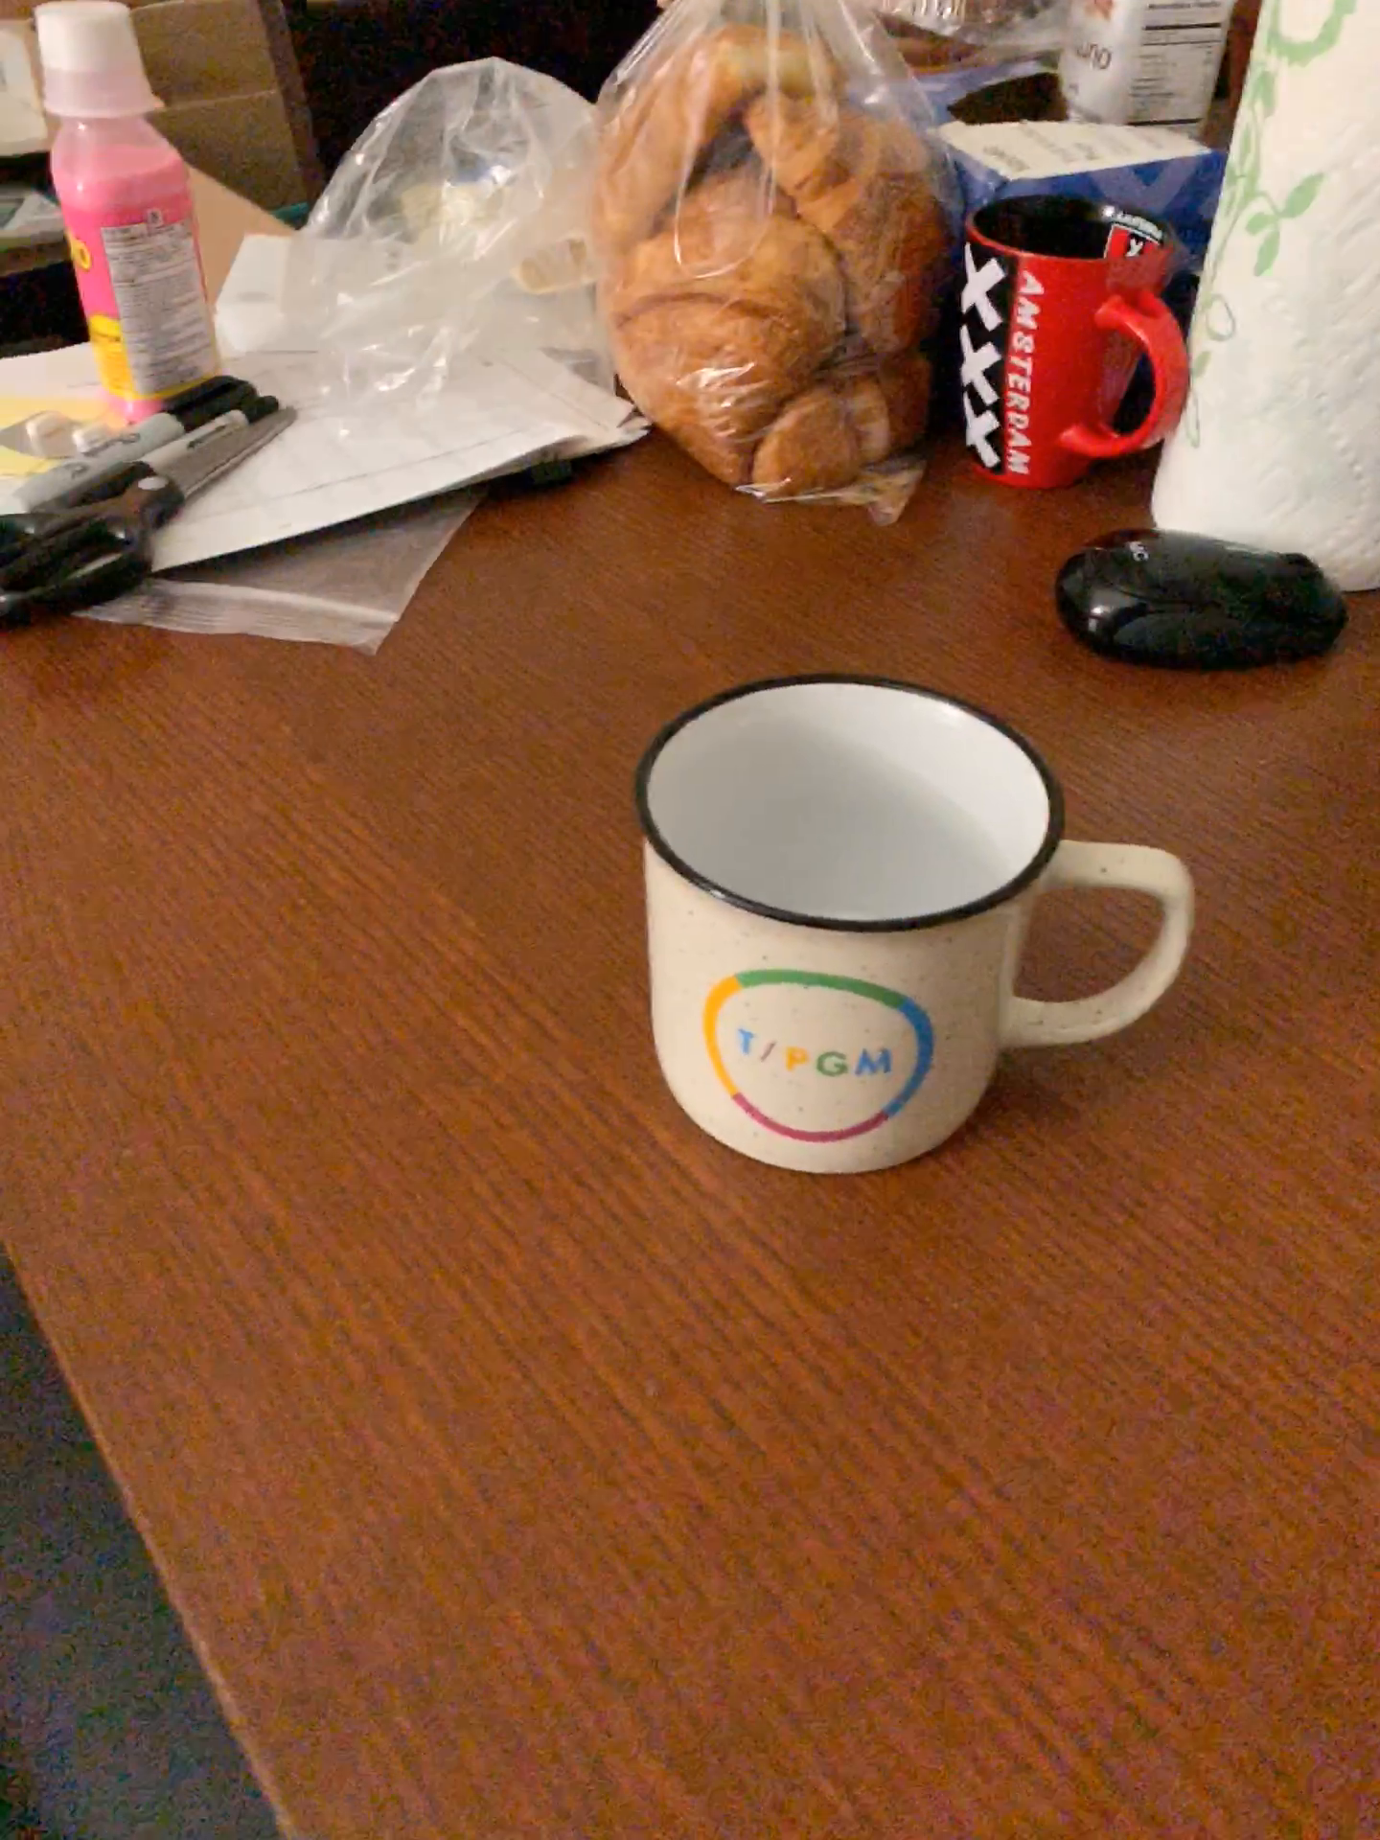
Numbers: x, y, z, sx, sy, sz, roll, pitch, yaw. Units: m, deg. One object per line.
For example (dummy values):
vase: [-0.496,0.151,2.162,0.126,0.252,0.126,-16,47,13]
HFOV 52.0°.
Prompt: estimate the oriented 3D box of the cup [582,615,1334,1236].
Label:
cup: [0.059,-0.001,0.355,0.150,0.099,0.101,6,42,6]
